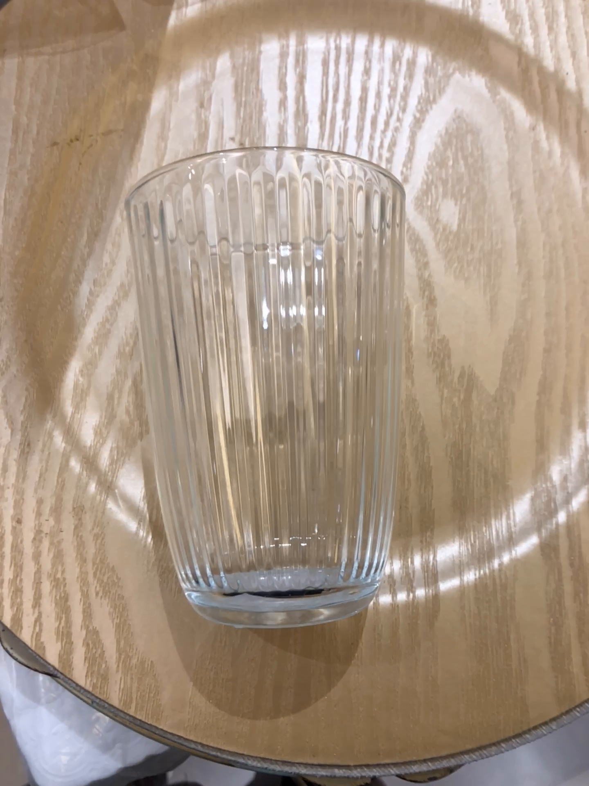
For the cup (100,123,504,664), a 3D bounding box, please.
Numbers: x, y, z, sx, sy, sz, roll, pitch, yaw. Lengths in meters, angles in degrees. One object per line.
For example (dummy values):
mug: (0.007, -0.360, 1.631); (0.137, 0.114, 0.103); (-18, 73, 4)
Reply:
cup: (-0.002, 0.001, 0.198); (0.090, 0.070, 0.130); (-4, 79, -2)
